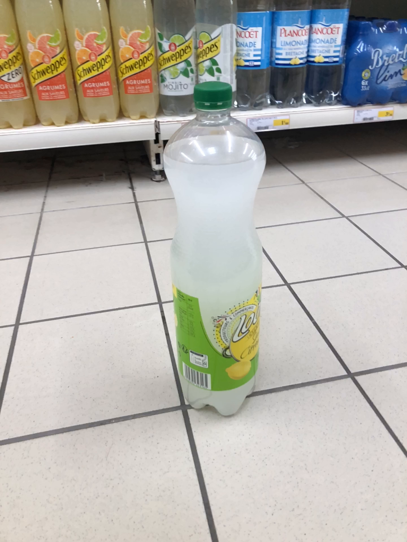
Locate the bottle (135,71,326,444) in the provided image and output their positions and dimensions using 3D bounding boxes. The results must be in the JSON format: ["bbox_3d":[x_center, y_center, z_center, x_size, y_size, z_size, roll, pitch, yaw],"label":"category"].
[{"bbox_3d":[0.025,-0.005,0.406,0.100,0.308,0.101,-1,30,1],"label":"bottle"}]
